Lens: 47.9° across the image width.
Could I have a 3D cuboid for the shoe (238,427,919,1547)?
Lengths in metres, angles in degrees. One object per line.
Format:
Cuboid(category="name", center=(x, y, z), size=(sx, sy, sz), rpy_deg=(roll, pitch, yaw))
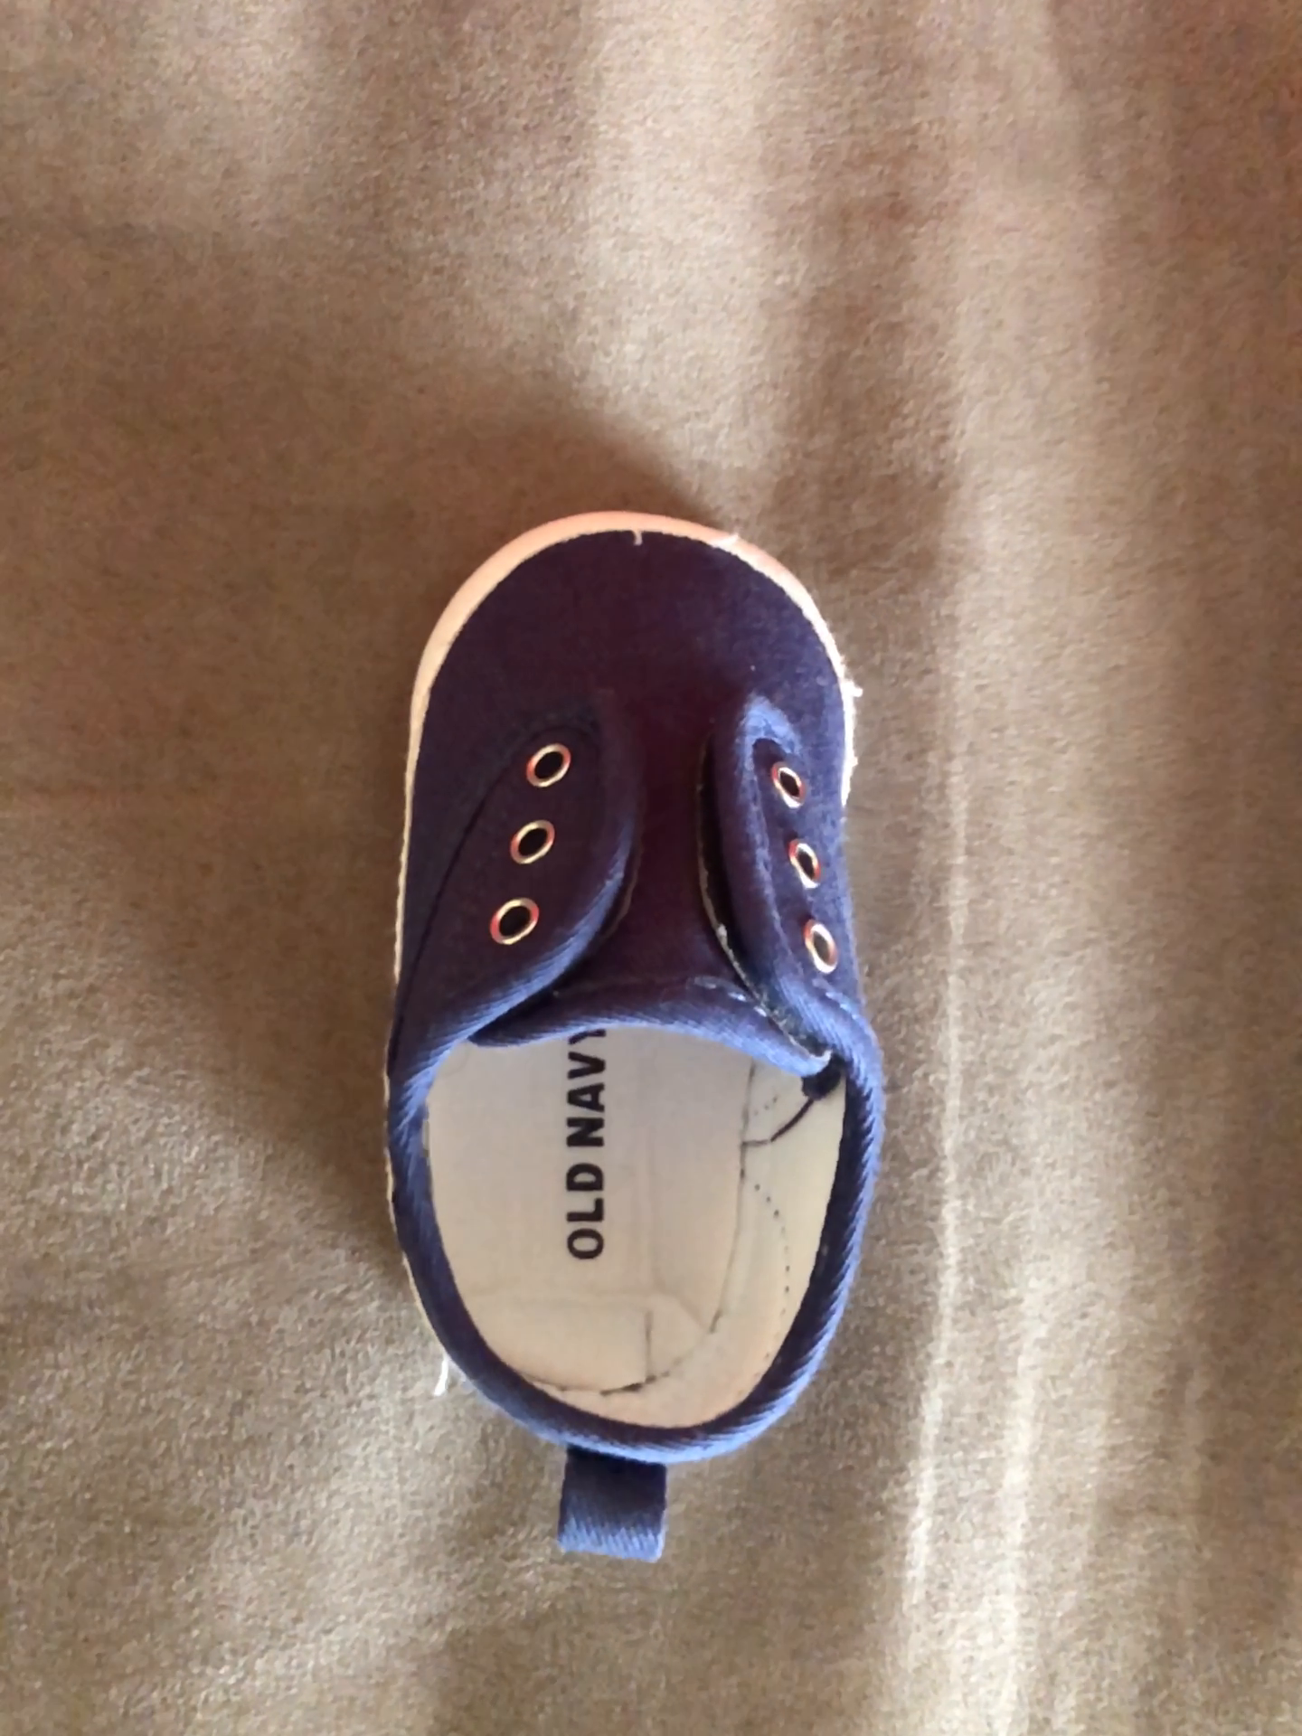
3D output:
Cuboid(category="shoe", center=(-0.010, 0.013, 0.179), size=(0.060, 0.060, 0.110), rpy_deg=(5, 92, -5))
